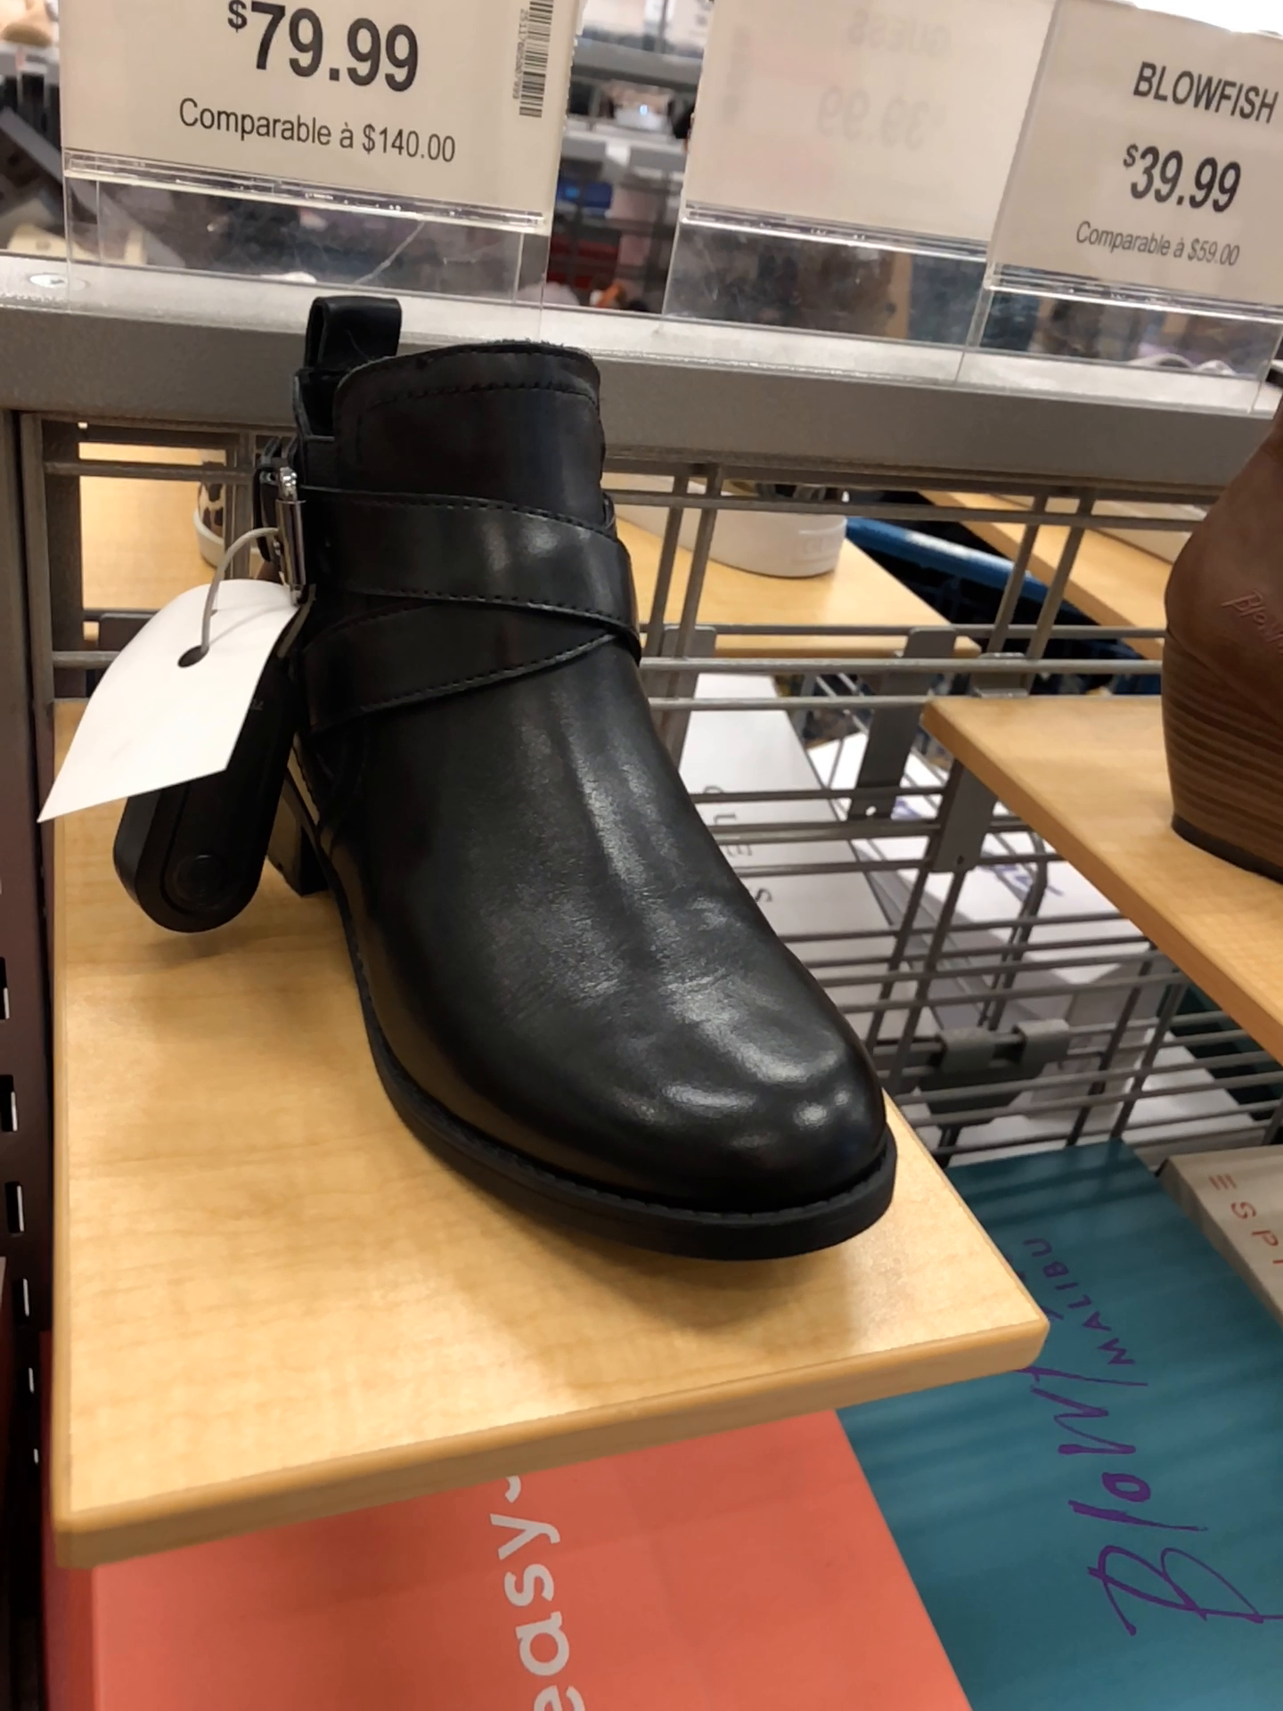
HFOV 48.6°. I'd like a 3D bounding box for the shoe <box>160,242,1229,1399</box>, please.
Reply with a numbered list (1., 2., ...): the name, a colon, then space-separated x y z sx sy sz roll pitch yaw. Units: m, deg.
1. shoe: -0.019 -0.031 0.299 0.090 0.133 0.221 -12 37 -34
